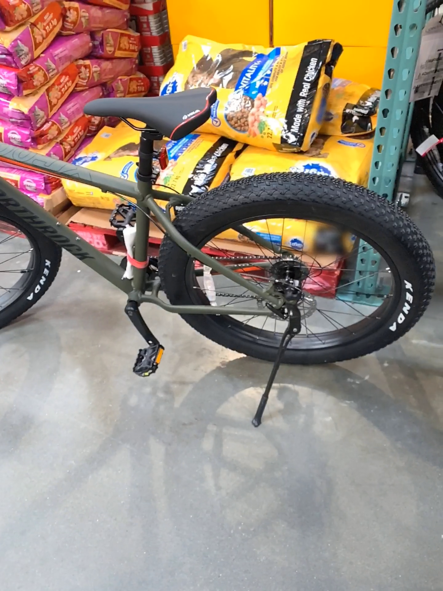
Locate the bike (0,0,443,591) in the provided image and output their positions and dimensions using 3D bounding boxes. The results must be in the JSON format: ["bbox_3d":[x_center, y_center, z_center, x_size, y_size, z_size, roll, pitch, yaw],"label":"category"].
[{"bbox_3d":[-0.227,-0.037,0.899,1.712,1.203,0.595,-3,40,-9],"label":"bike"}]
